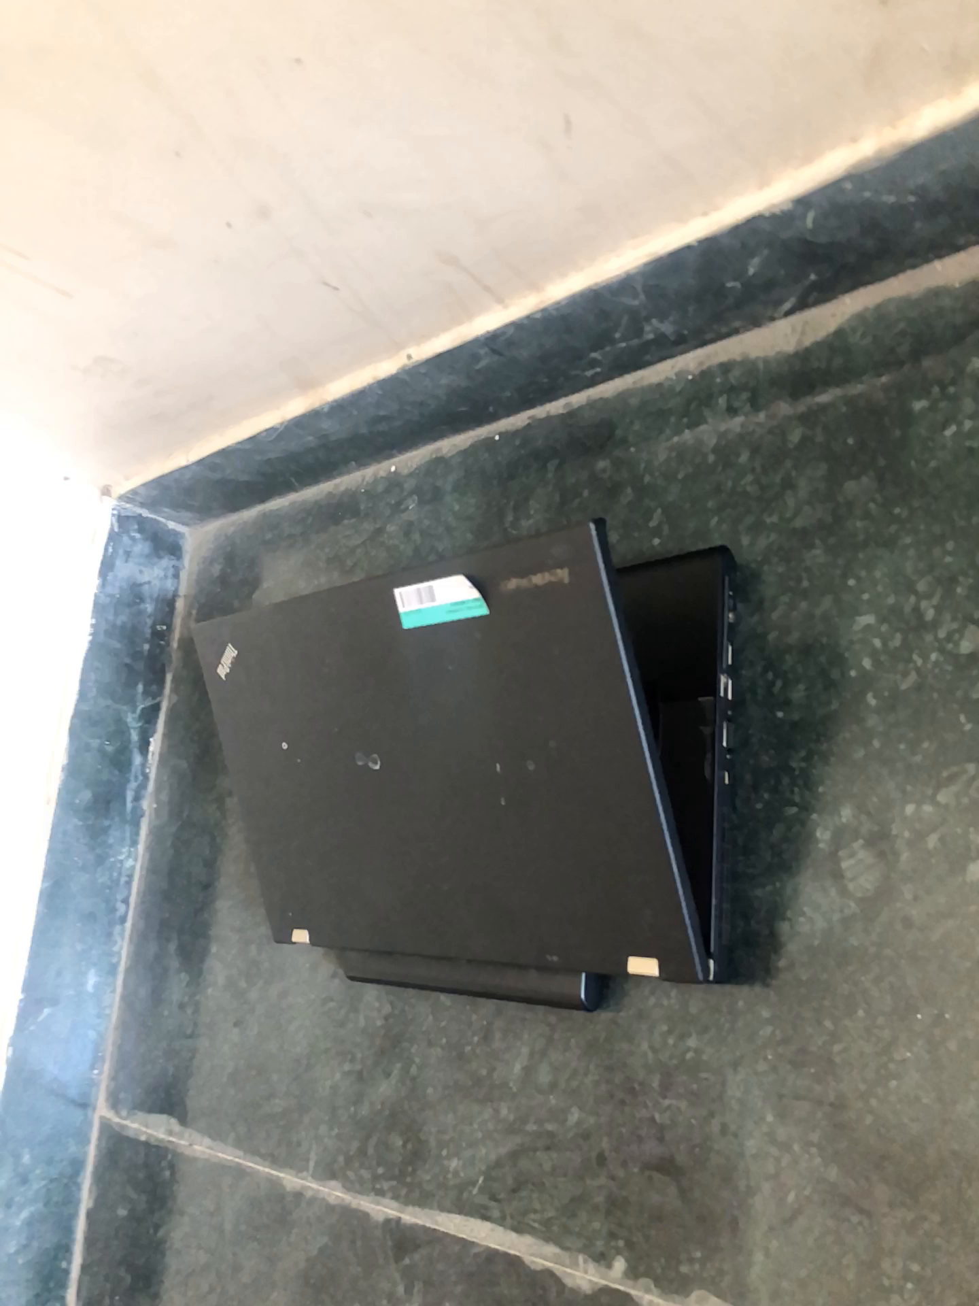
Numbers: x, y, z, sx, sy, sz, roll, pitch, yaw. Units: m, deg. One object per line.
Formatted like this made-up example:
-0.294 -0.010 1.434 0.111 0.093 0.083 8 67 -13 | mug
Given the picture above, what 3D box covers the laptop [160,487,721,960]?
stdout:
-0.043 0.056 0.656 0.350 0.094 0.227 -9 68 41 | laptop
